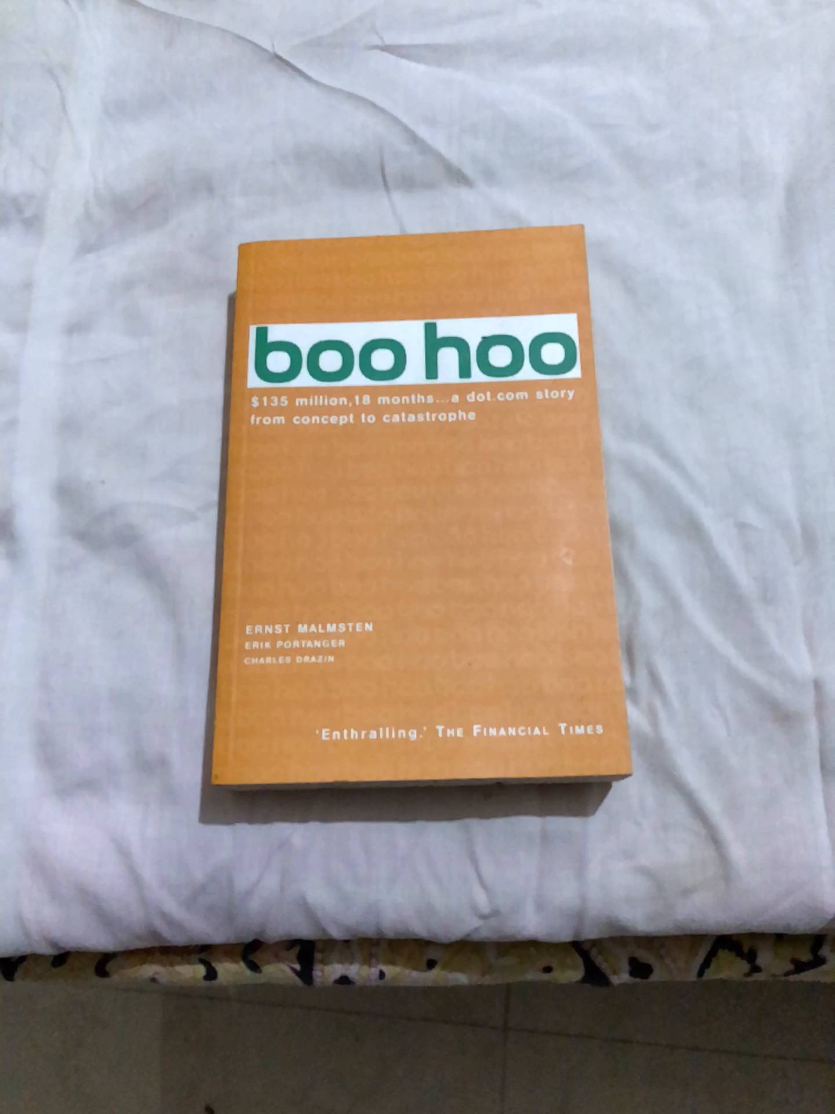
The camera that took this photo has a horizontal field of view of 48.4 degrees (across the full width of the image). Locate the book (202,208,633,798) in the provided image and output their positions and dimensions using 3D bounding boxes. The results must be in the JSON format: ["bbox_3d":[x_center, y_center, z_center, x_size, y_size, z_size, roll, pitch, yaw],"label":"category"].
[{"bbox_3d":[-0.002,-0.021,0.328,0.130,0.040,0.200,-3,73,4],"label":"book"}]
